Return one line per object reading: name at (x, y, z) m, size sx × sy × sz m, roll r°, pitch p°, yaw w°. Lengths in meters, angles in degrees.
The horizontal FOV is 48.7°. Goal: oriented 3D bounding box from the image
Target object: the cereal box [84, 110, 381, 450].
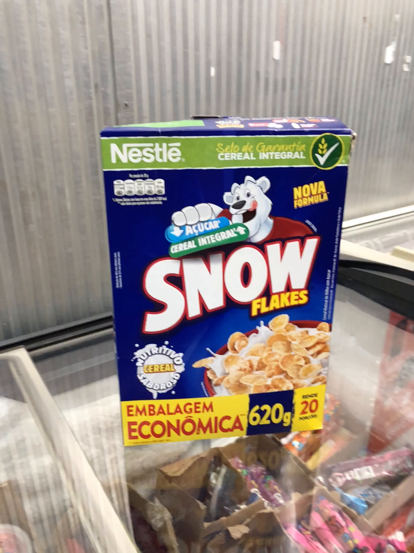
cereal box at (0.020, 0.007, 0.438) m, size 0.230 × 0.308 × 0.070 m, roll -3°, pitch 22°, yaw -7°
